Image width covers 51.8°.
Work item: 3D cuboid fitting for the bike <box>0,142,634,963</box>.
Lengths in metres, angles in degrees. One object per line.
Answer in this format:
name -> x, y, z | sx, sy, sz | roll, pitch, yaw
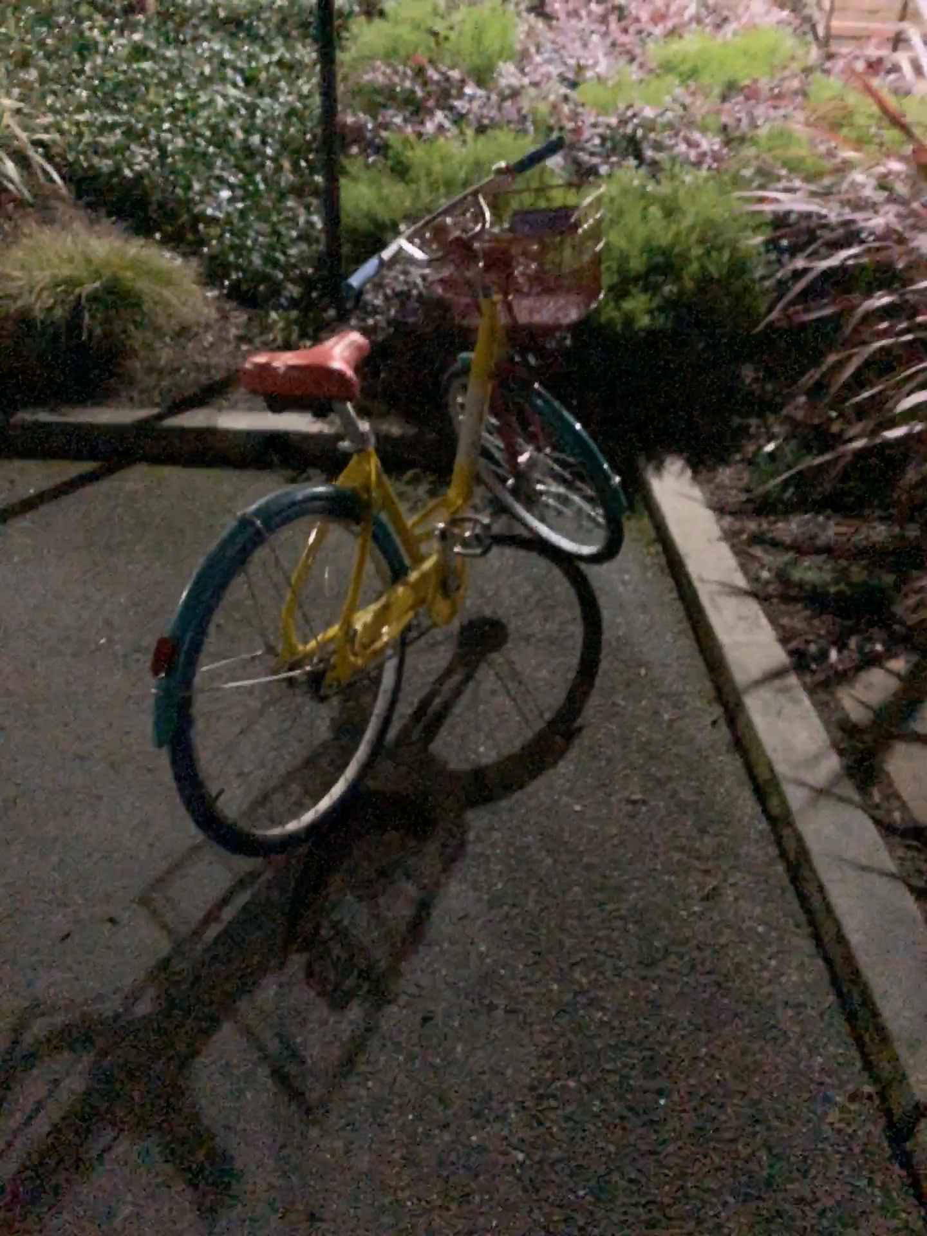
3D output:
bike -> -0.160, -0.318, 2.002 | 0.600, 1.085, 1.590 | 13, 33, 14
